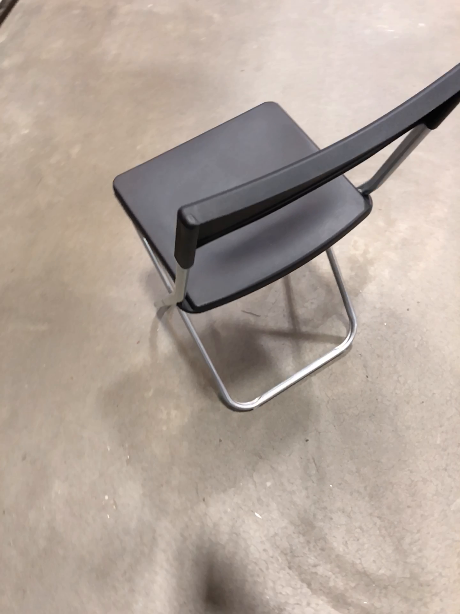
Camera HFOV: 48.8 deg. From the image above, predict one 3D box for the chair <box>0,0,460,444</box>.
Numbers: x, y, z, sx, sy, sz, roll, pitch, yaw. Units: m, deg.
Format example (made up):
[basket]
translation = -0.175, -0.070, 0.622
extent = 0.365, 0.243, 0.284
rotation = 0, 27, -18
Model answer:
[chair]
translation = 0.027, -0.166, 0.914
extent = 0.460, 0.759, 0.461
rotation = -31, 64, -12
